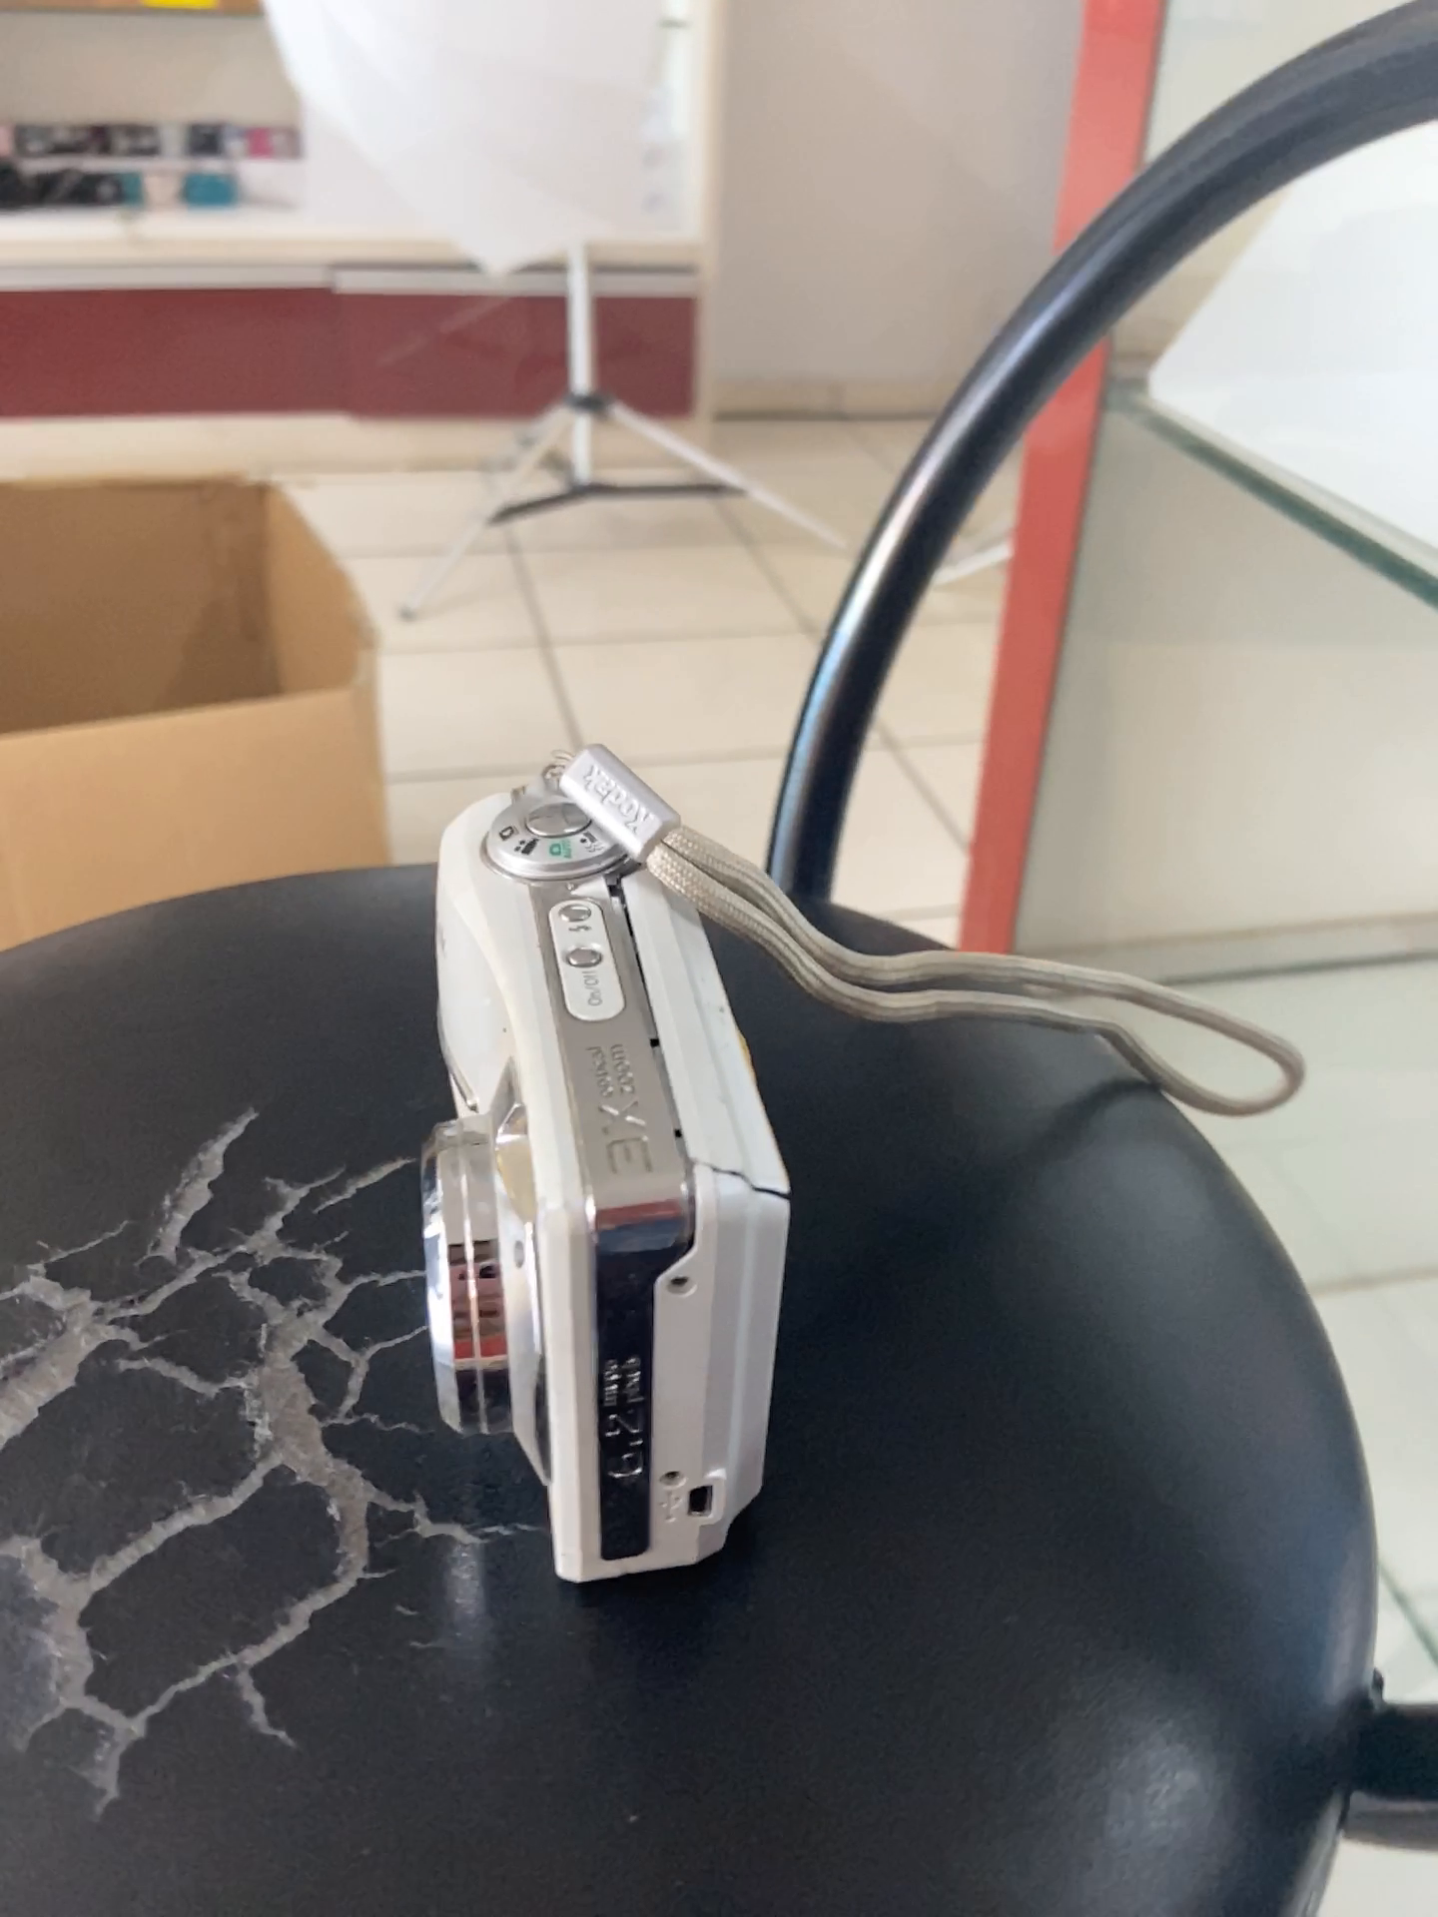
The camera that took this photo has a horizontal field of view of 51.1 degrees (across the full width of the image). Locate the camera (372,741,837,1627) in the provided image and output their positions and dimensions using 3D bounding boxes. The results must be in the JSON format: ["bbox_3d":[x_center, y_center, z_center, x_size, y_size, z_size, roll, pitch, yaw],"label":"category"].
[{"bbox_3d":[-0.020,0.024,0.201,0.040,0.070,0.090,-6,34,-13],"label":"camera"}]
